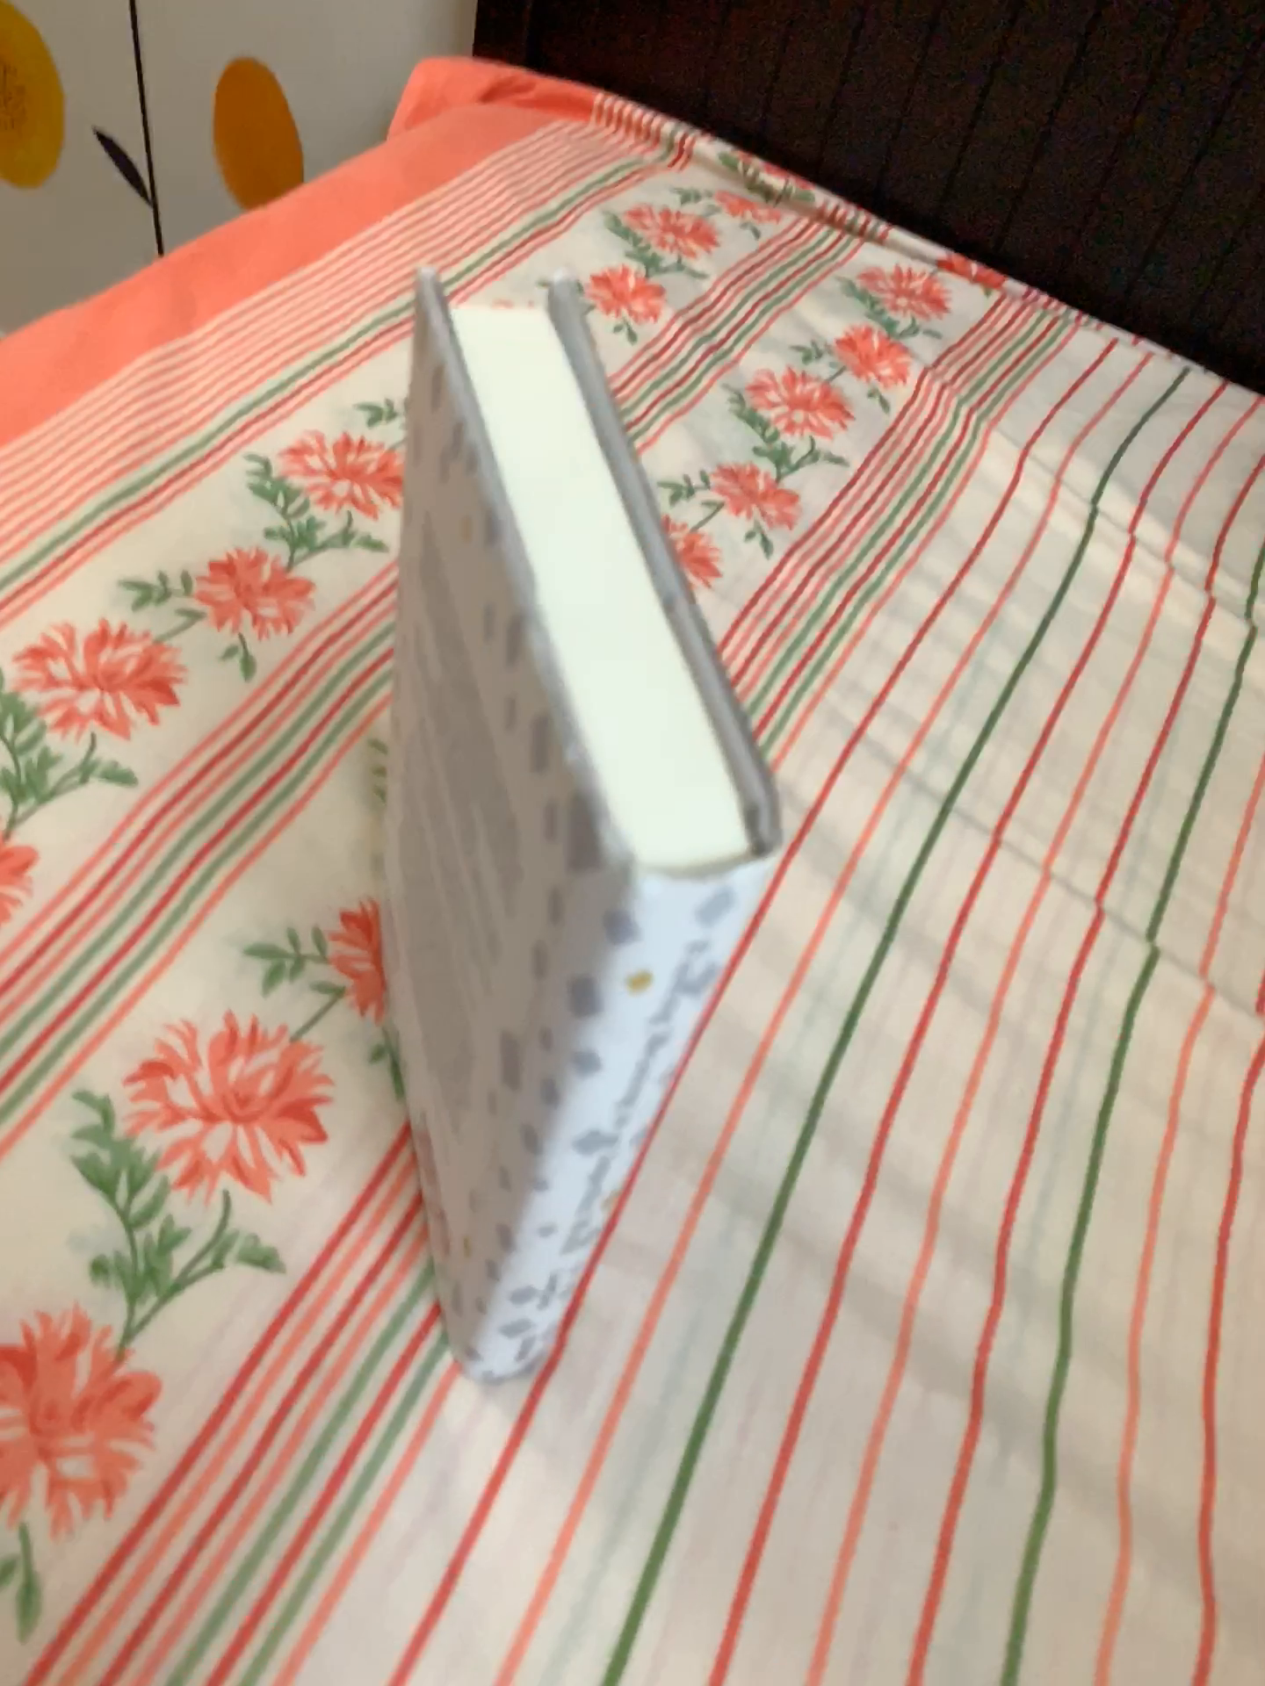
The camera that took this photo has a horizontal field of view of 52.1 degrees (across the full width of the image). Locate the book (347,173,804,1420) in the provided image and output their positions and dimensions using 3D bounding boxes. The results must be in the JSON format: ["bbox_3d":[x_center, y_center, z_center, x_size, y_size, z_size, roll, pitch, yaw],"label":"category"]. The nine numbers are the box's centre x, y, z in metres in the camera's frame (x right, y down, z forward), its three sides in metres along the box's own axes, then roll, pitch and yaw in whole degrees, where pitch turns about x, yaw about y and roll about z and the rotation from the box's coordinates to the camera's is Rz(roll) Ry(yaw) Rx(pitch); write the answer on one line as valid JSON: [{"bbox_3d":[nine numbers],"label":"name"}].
[{"bbox_3d":[-0.034,0.006,0.278,0.030,0.218,0.161,-5,53,-17],"label":"book"}]
